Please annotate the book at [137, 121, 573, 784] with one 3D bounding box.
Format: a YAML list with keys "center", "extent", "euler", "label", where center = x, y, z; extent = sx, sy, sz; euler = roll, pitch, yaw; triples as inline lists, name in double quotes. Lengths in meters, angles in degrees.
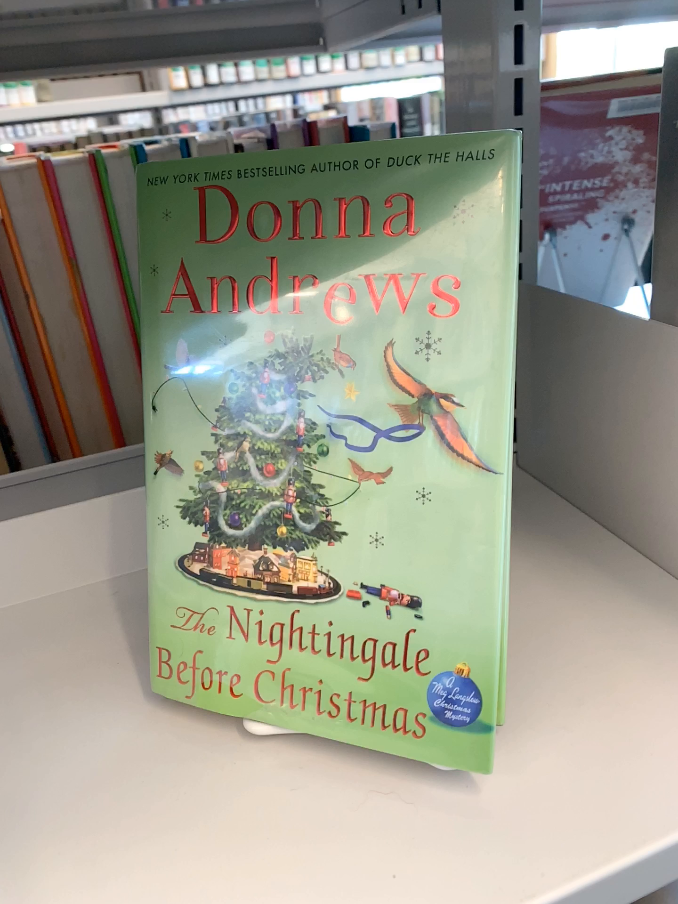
- center: [0.000, -0.002, 0.255]
  extent: [0.145, 0.200, 0.040]
  euler: [5, 9, 22]
  label: "book"
